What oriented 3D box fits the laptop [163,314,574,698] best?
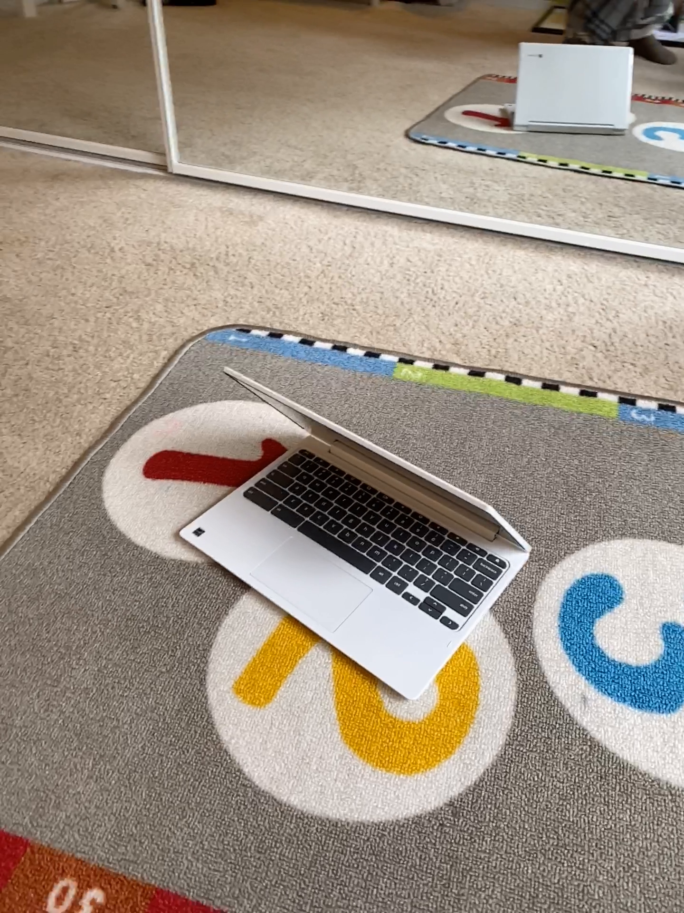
[{"bbox_3d":[0.020,0.026,0.674,0.299,0.162,0.217,29,47,27],"label":"laptop"}]
